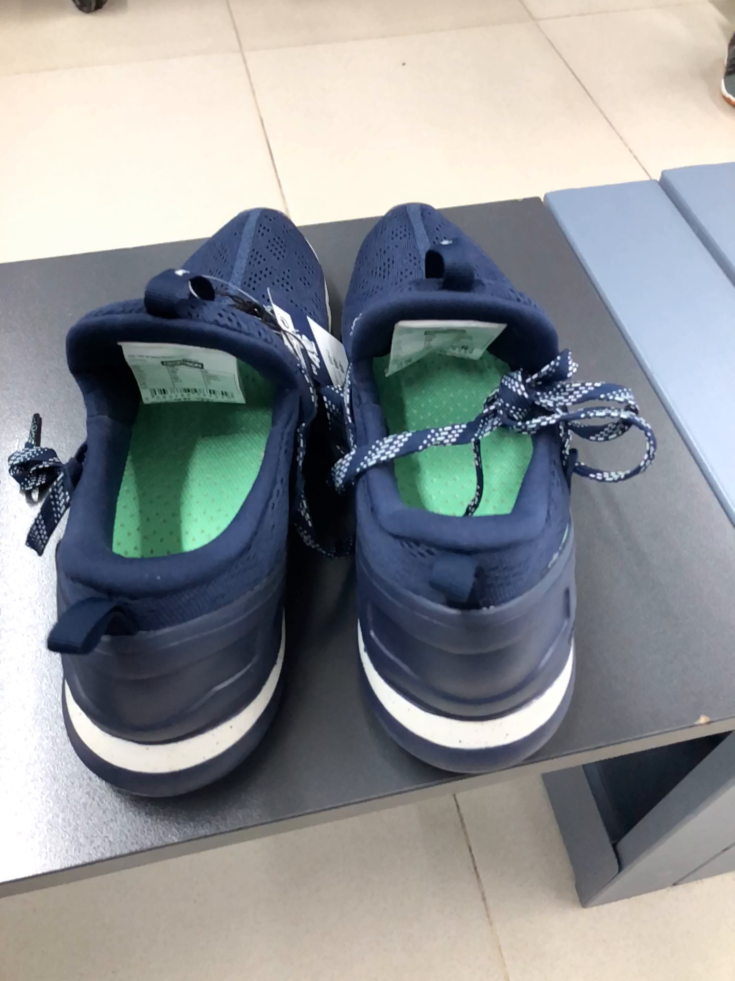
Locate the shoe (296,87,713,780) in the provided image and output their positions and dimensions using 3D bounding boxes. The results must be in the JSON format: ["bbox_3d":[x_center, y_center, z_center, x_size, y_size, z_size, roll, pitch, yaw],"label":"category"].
[{"bbox_3d":[0.029,-0.034,0.317,0.100,0.119,0.251,-1,54,-1],"label":"shoe"}]

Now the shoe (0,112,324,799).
[{"bbox_3d":[-0.070,-0.026,0.321,0.100,0.119,0.251,-1,54,-1],"label":"shoe"}]
